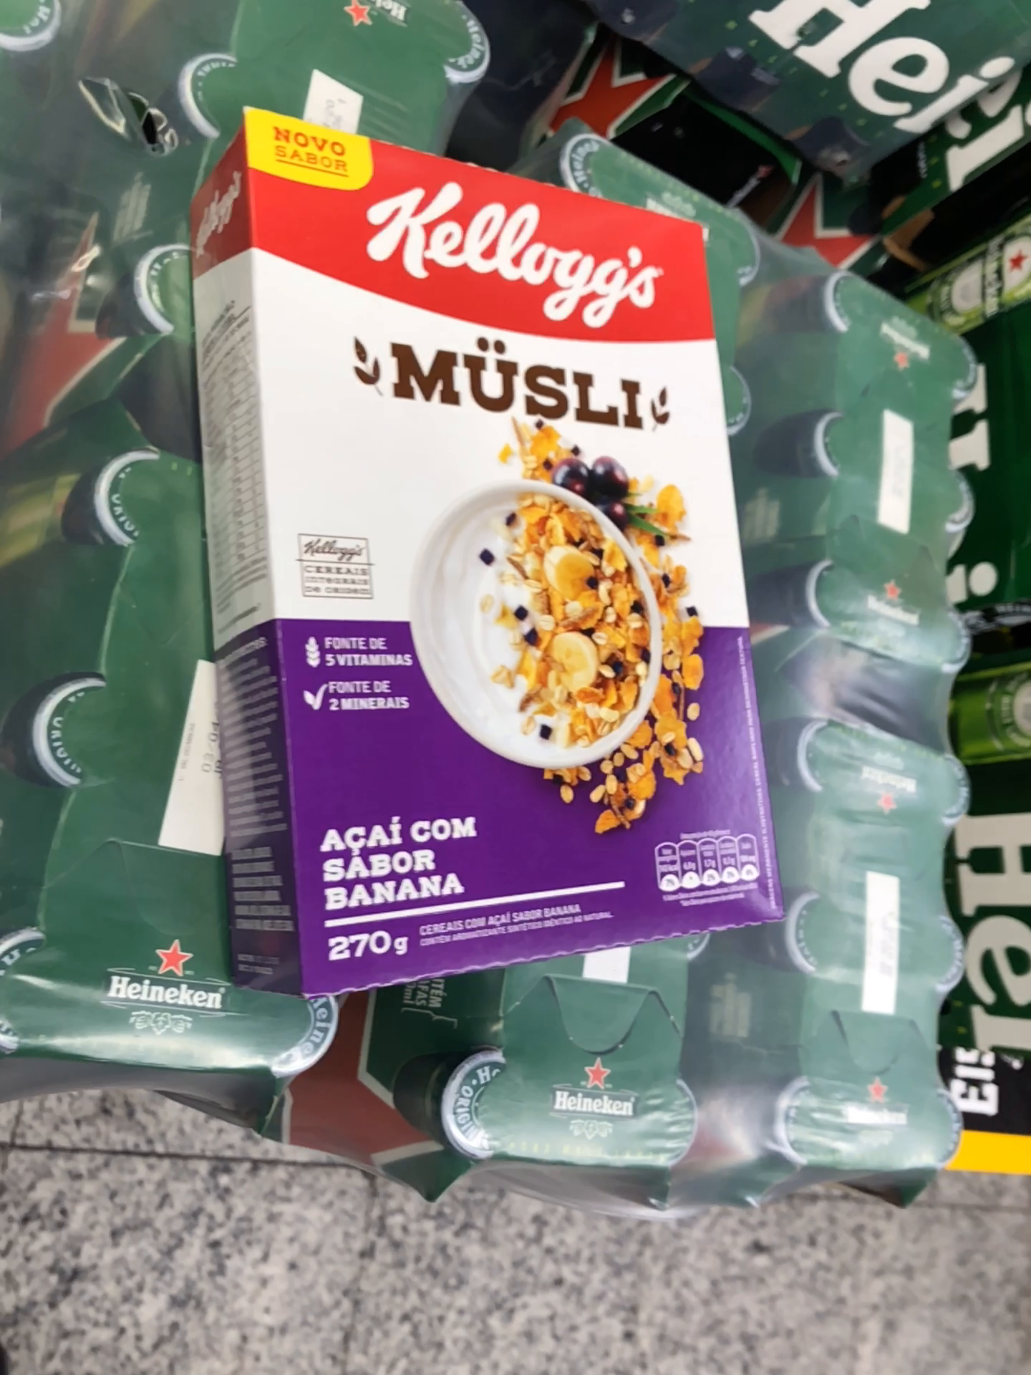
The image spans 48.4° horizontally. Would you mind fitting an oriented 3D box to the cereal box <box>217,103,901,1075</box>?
[{"bbox_3d":[0.014,-0.022,0.276,0.151,0.040,0.190,-1,82,-32],"label":"cereal box"}]
